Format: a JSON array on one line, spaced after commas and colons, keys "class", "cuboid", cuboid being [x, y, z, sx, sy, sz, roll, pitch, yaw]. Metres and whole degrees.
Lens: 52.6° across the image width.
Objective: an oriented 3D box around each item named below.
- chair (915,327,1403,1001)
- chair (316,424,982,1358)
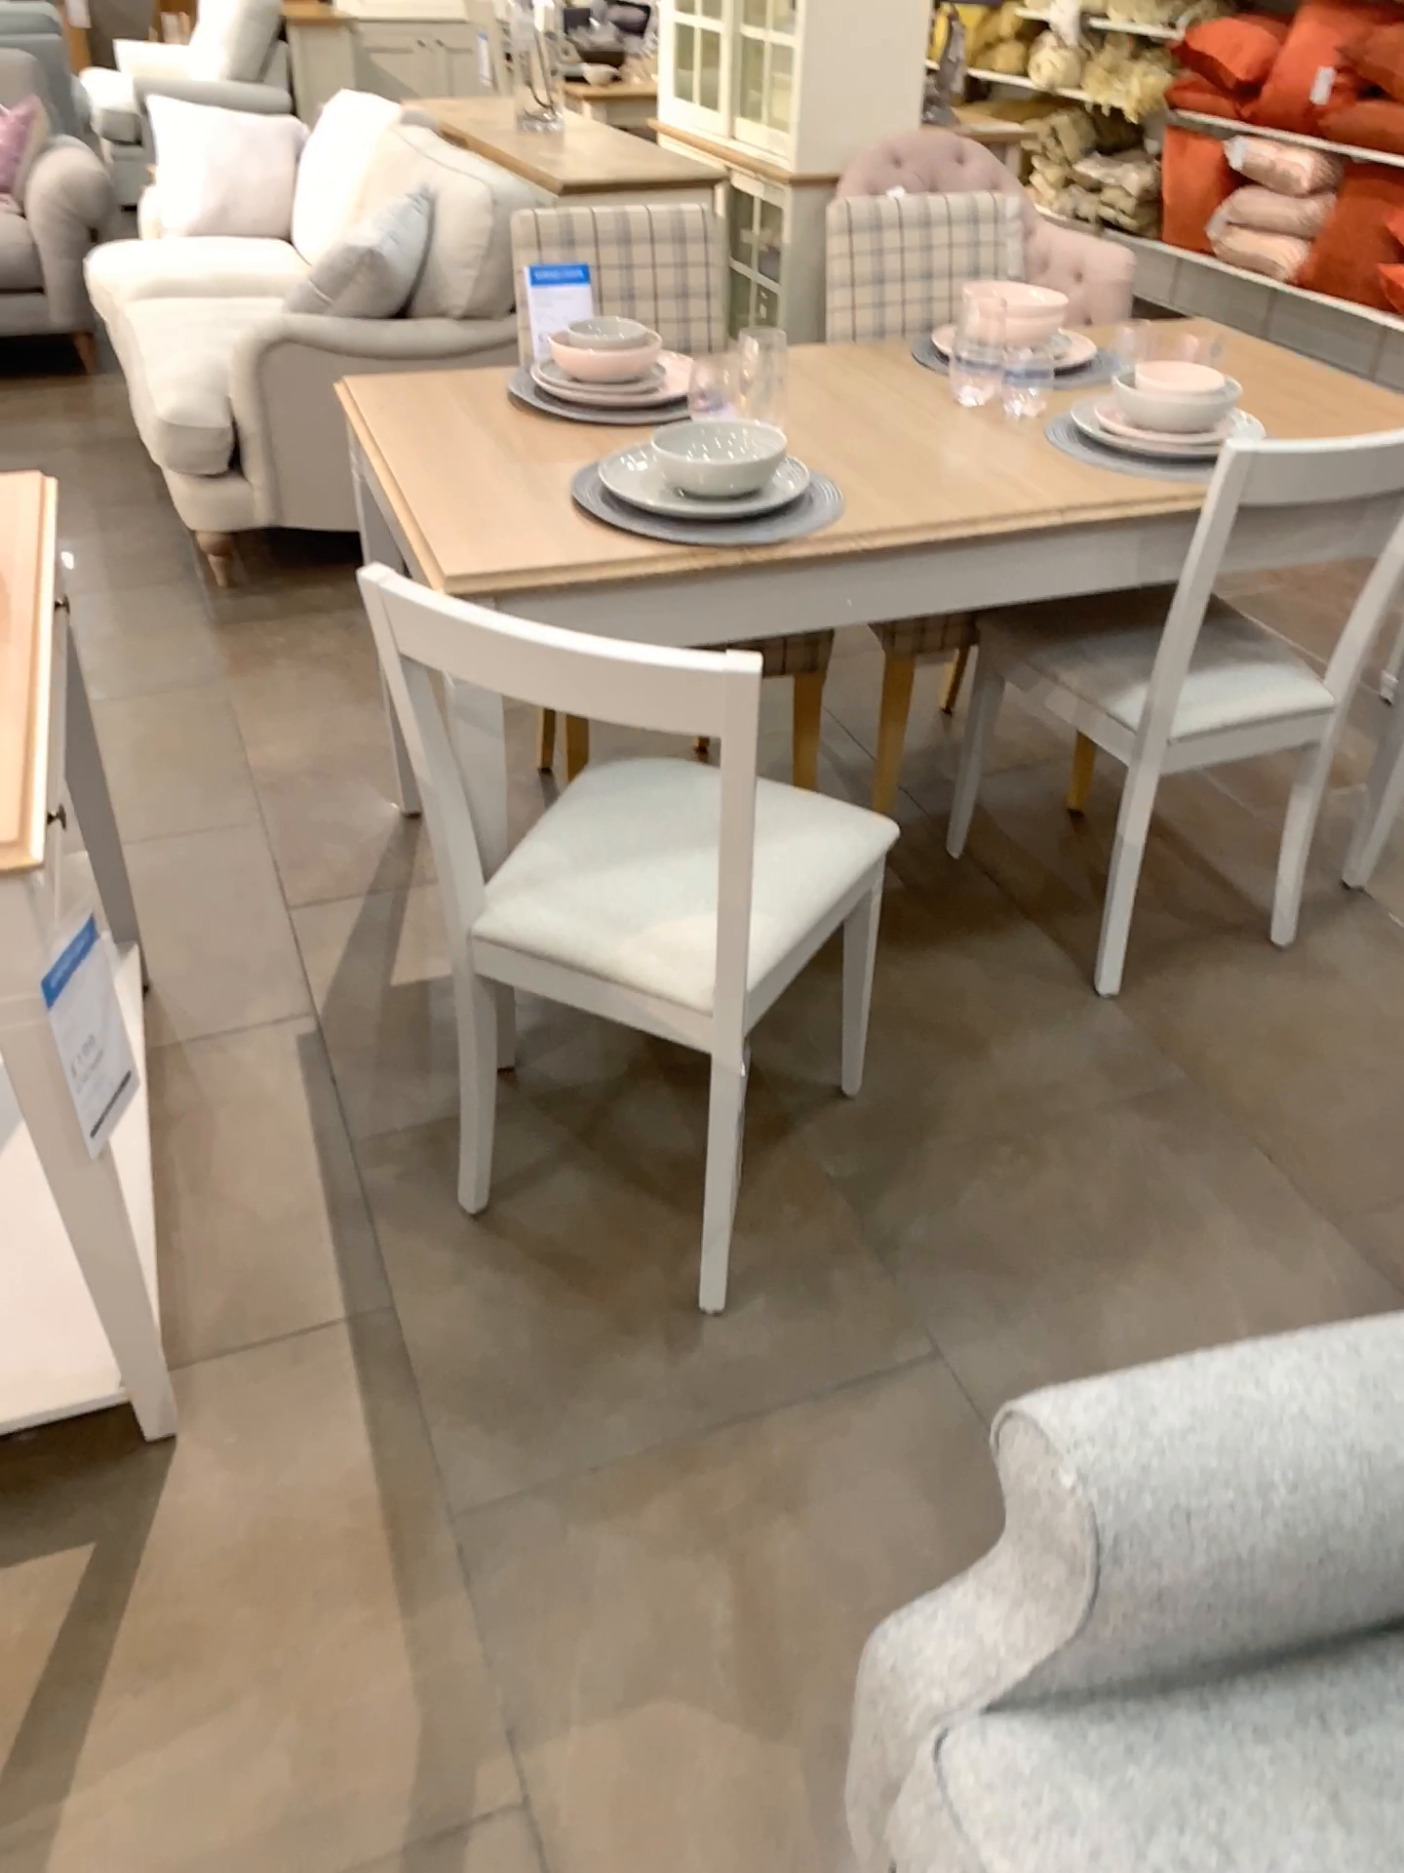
[{"class": "chair", "cuboid": [0.697, -0.428, 2.190, 0.431, 0.817, 0.539, -13, 38, -19]}, {"class": "chair", "cuboid": [-0.034, -0.065, 1.625, 0.461, 0.817, 0.539, 16, 38, 19]}]
